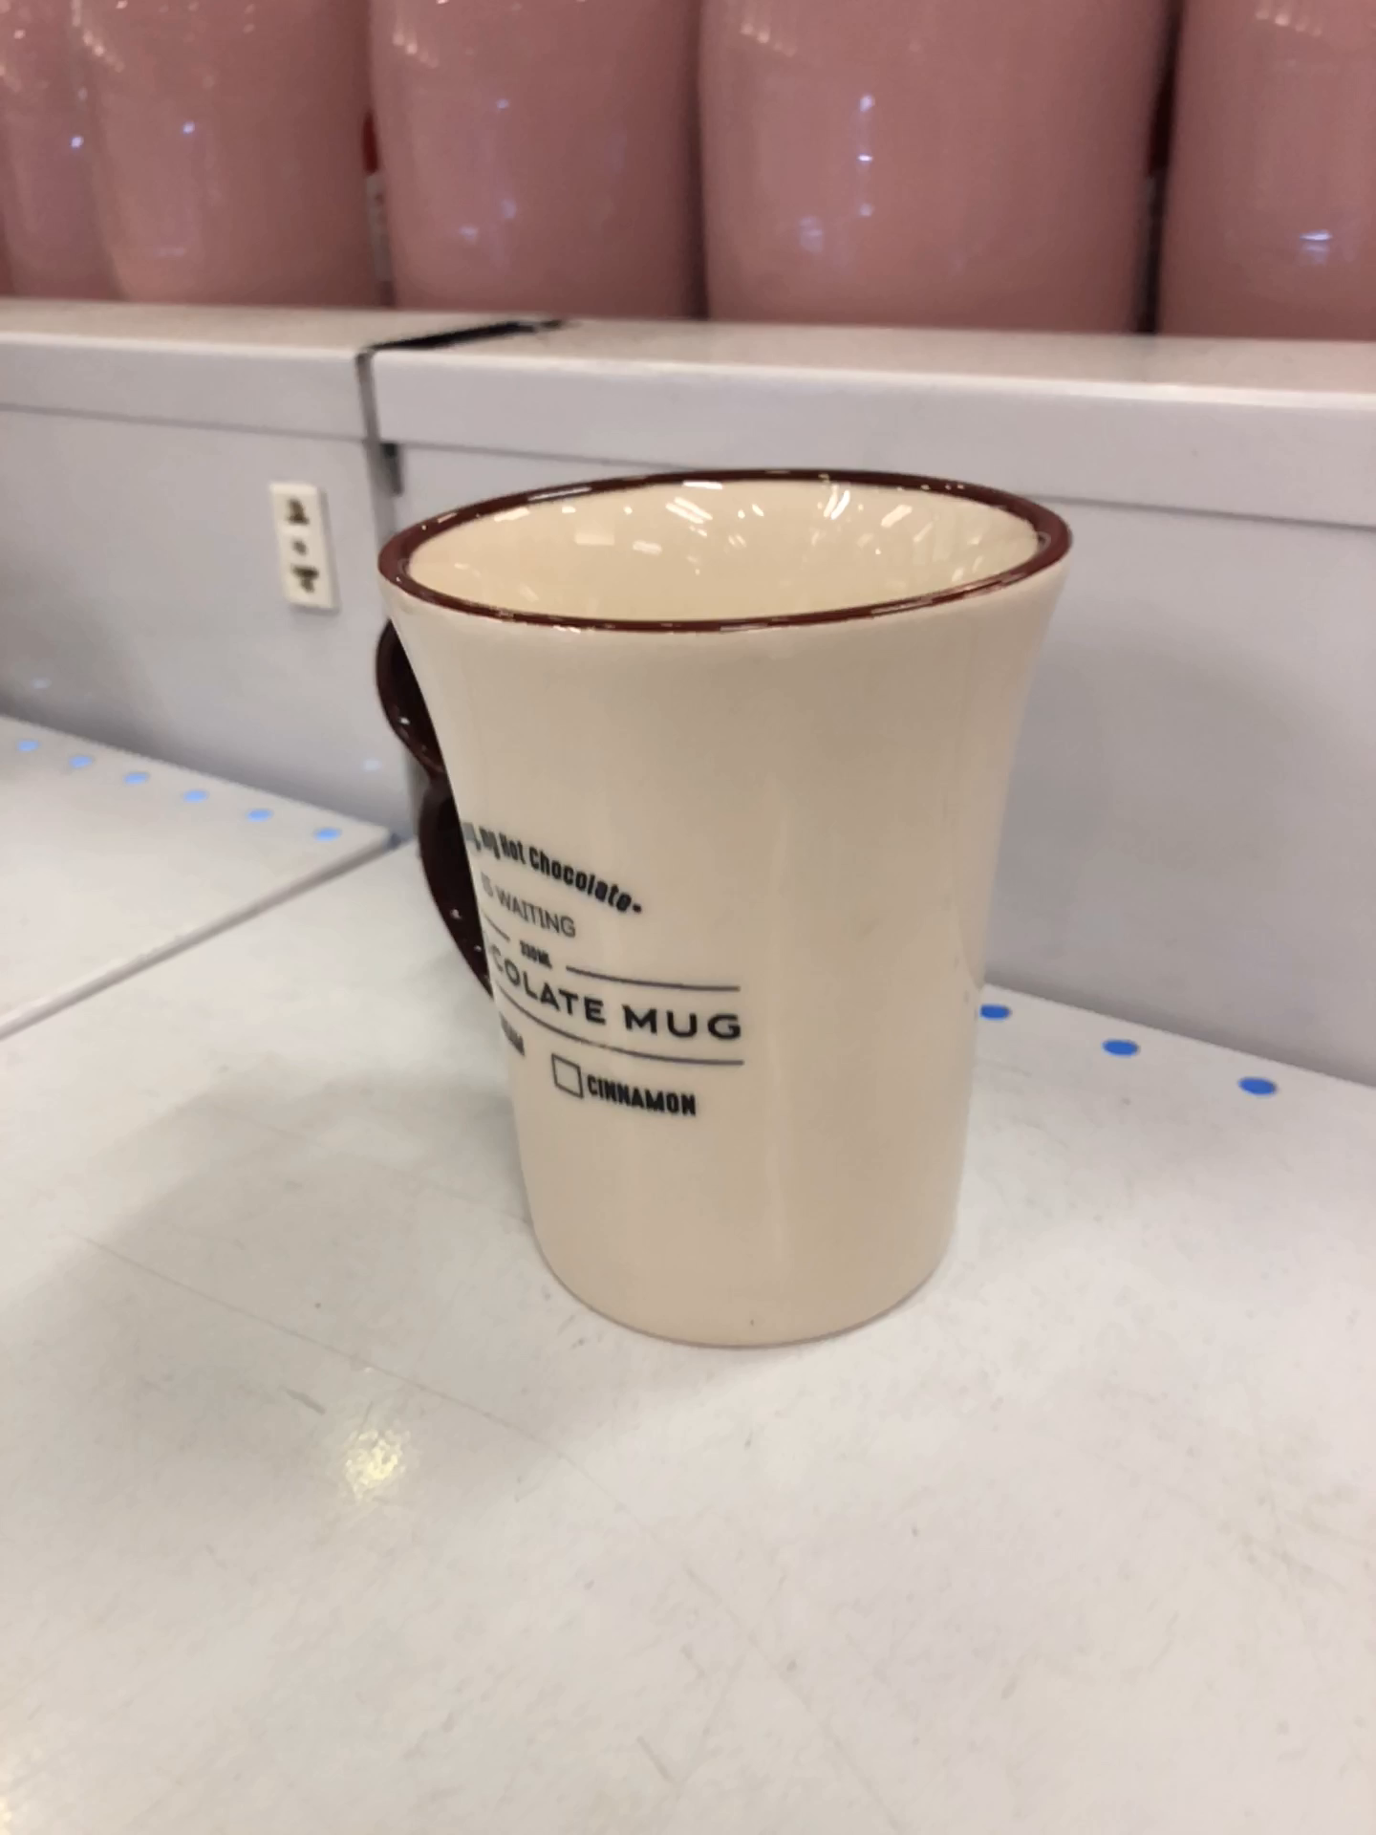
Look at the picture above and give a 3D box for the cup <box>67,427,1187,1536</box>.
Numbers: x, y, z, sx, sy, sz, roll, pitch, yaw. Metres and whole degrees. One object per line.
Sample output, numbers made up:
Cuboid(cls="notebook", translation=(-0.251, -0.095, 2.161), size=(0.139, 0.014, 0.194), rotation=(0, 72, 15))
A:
Cuboid(cls="cup", translation=(-0.007, -0.006, 0.230), size=(0.120, 0.109, 0.090), rotation=(17, 32, 35))
